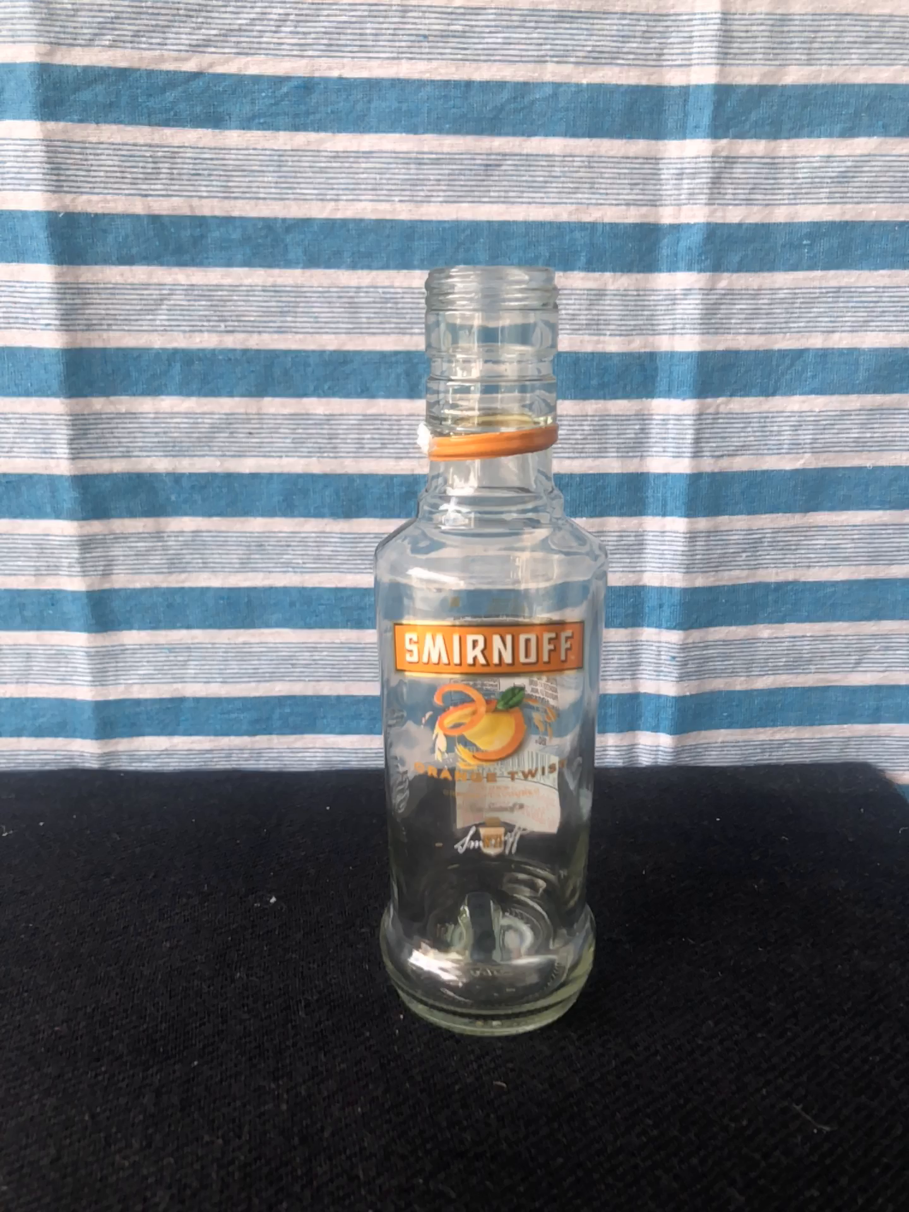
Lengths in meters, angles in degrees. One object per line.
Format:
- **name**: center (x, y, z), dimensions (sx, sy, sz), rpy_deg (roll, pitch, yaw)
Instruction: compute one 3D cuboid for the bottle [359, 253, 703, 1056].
- **bottle**: center (0.015, 0.011, 0.231), dimensions (0.060, 0.169, 0.050), rpy_deg (5, 18, 8)
